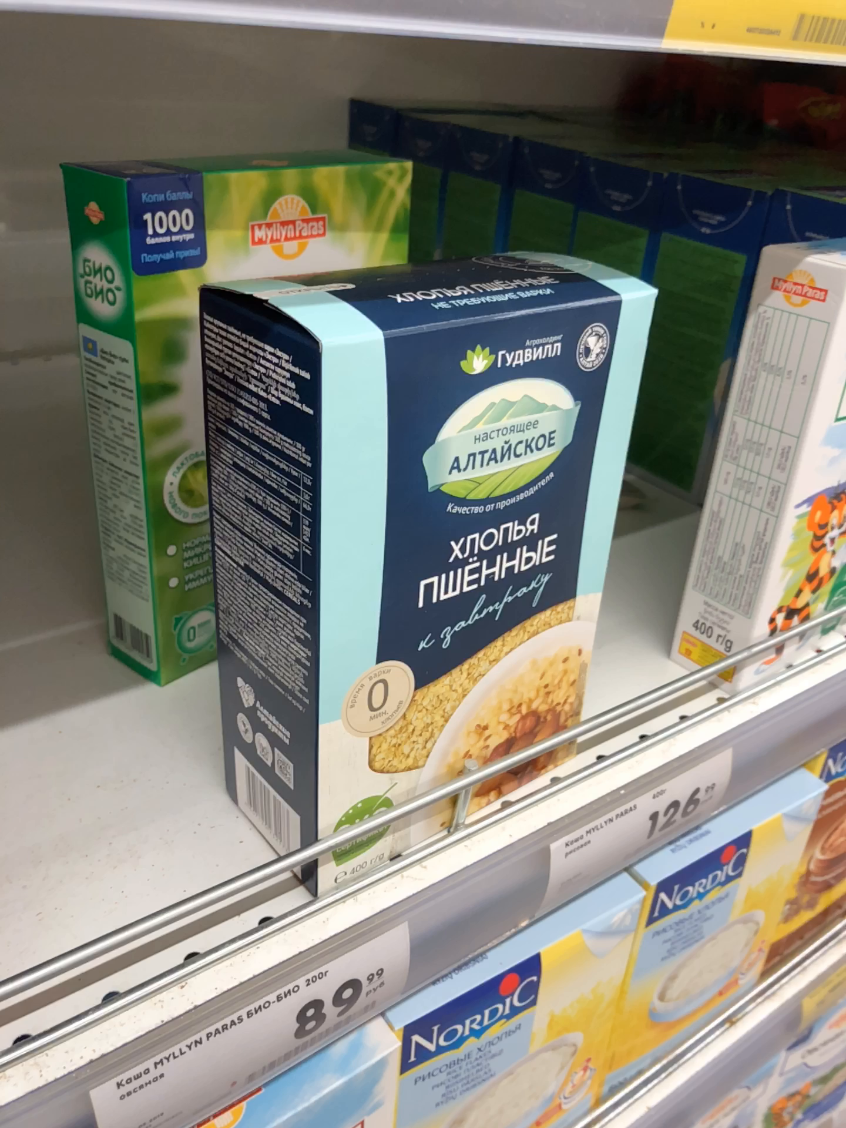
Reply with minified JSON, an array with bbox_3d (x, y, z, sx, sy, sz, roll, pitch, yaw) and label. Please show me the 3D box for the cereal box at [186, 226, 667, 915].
[{"bbox_3d":[-0.001,-0.001,0.319,0.130,0.199,0.060,-19,36,-35],"label":"cereal box"}]
